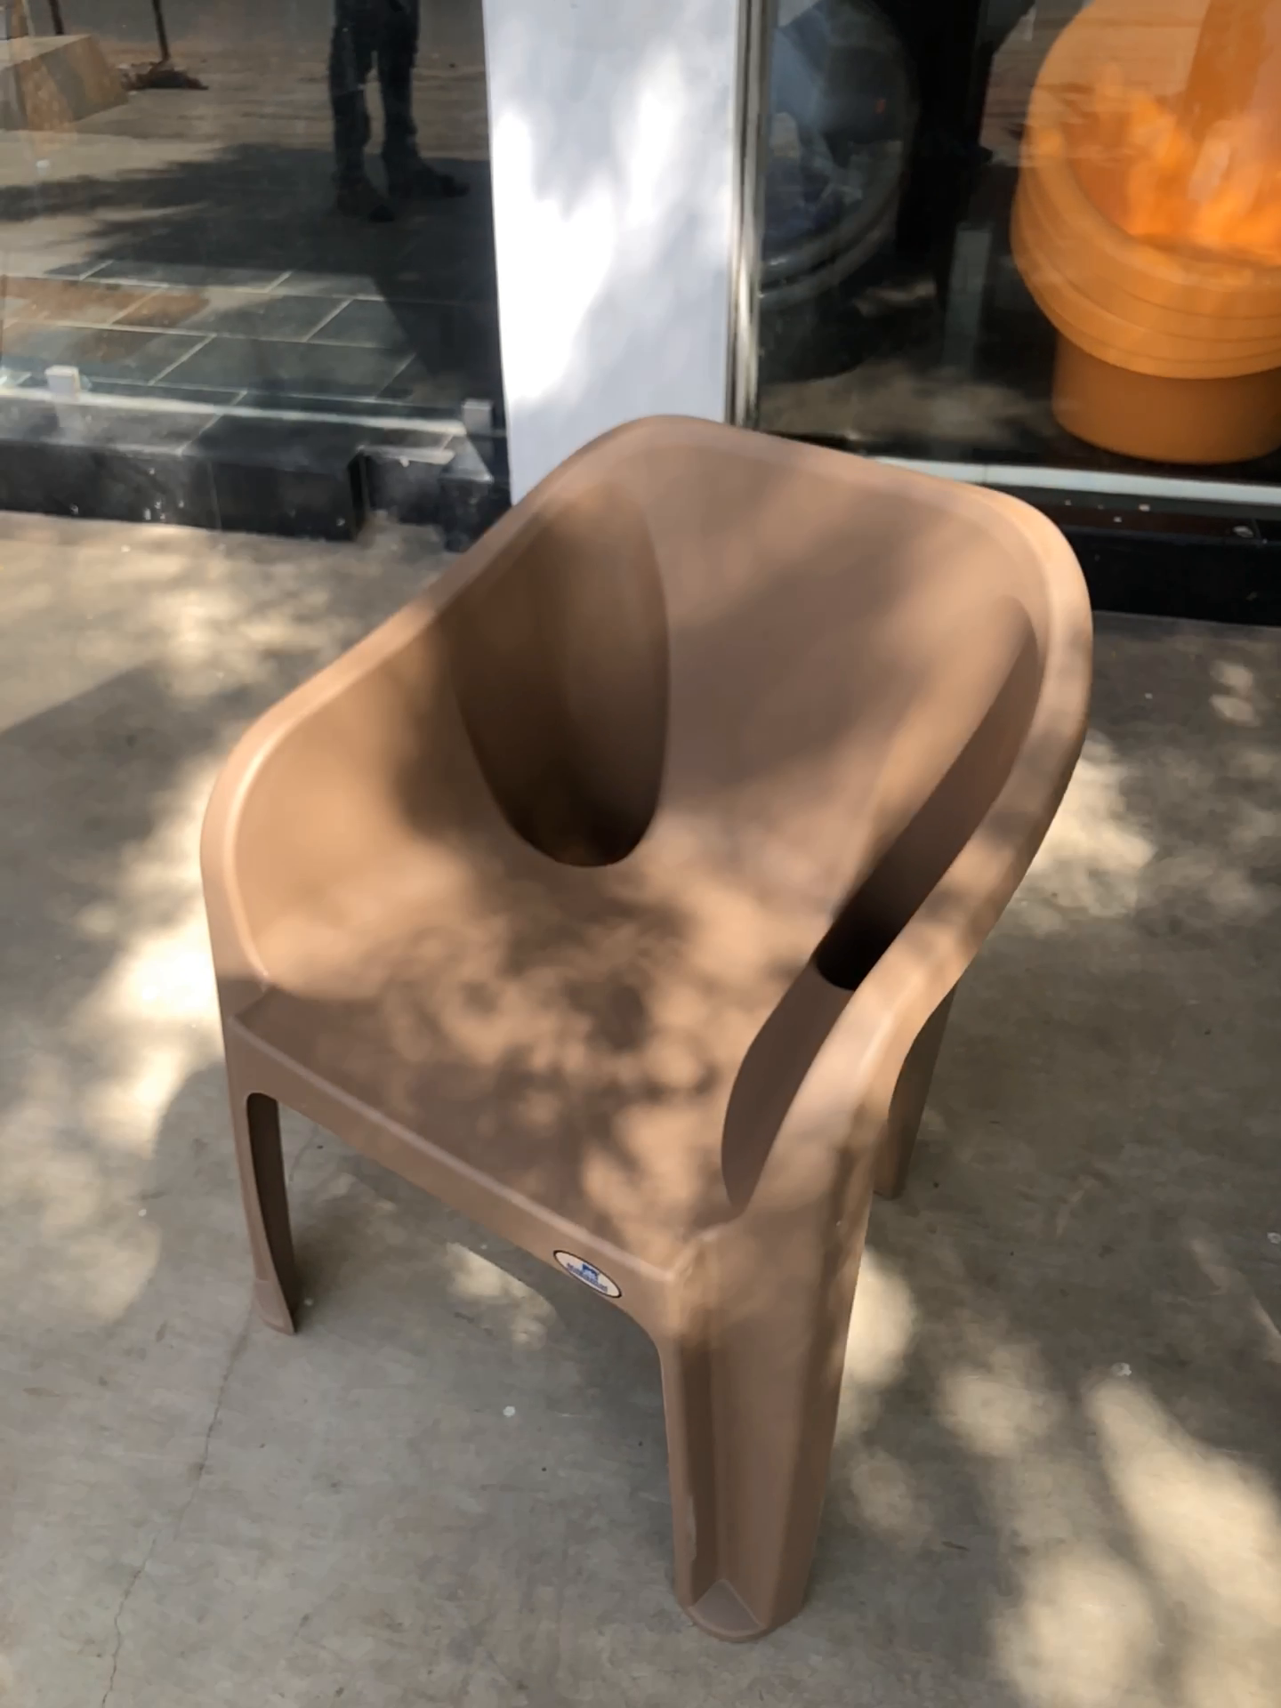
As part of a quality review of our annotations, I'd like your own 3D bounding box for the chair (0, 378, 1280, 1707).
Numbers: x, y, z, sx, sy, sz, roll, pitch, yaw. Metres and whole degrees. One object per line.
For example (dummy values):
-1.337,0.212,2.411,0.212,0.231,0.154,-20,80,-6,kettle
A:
0.048,0.078,1.207,0.640,0.637,0.724,23,43,26,chair
